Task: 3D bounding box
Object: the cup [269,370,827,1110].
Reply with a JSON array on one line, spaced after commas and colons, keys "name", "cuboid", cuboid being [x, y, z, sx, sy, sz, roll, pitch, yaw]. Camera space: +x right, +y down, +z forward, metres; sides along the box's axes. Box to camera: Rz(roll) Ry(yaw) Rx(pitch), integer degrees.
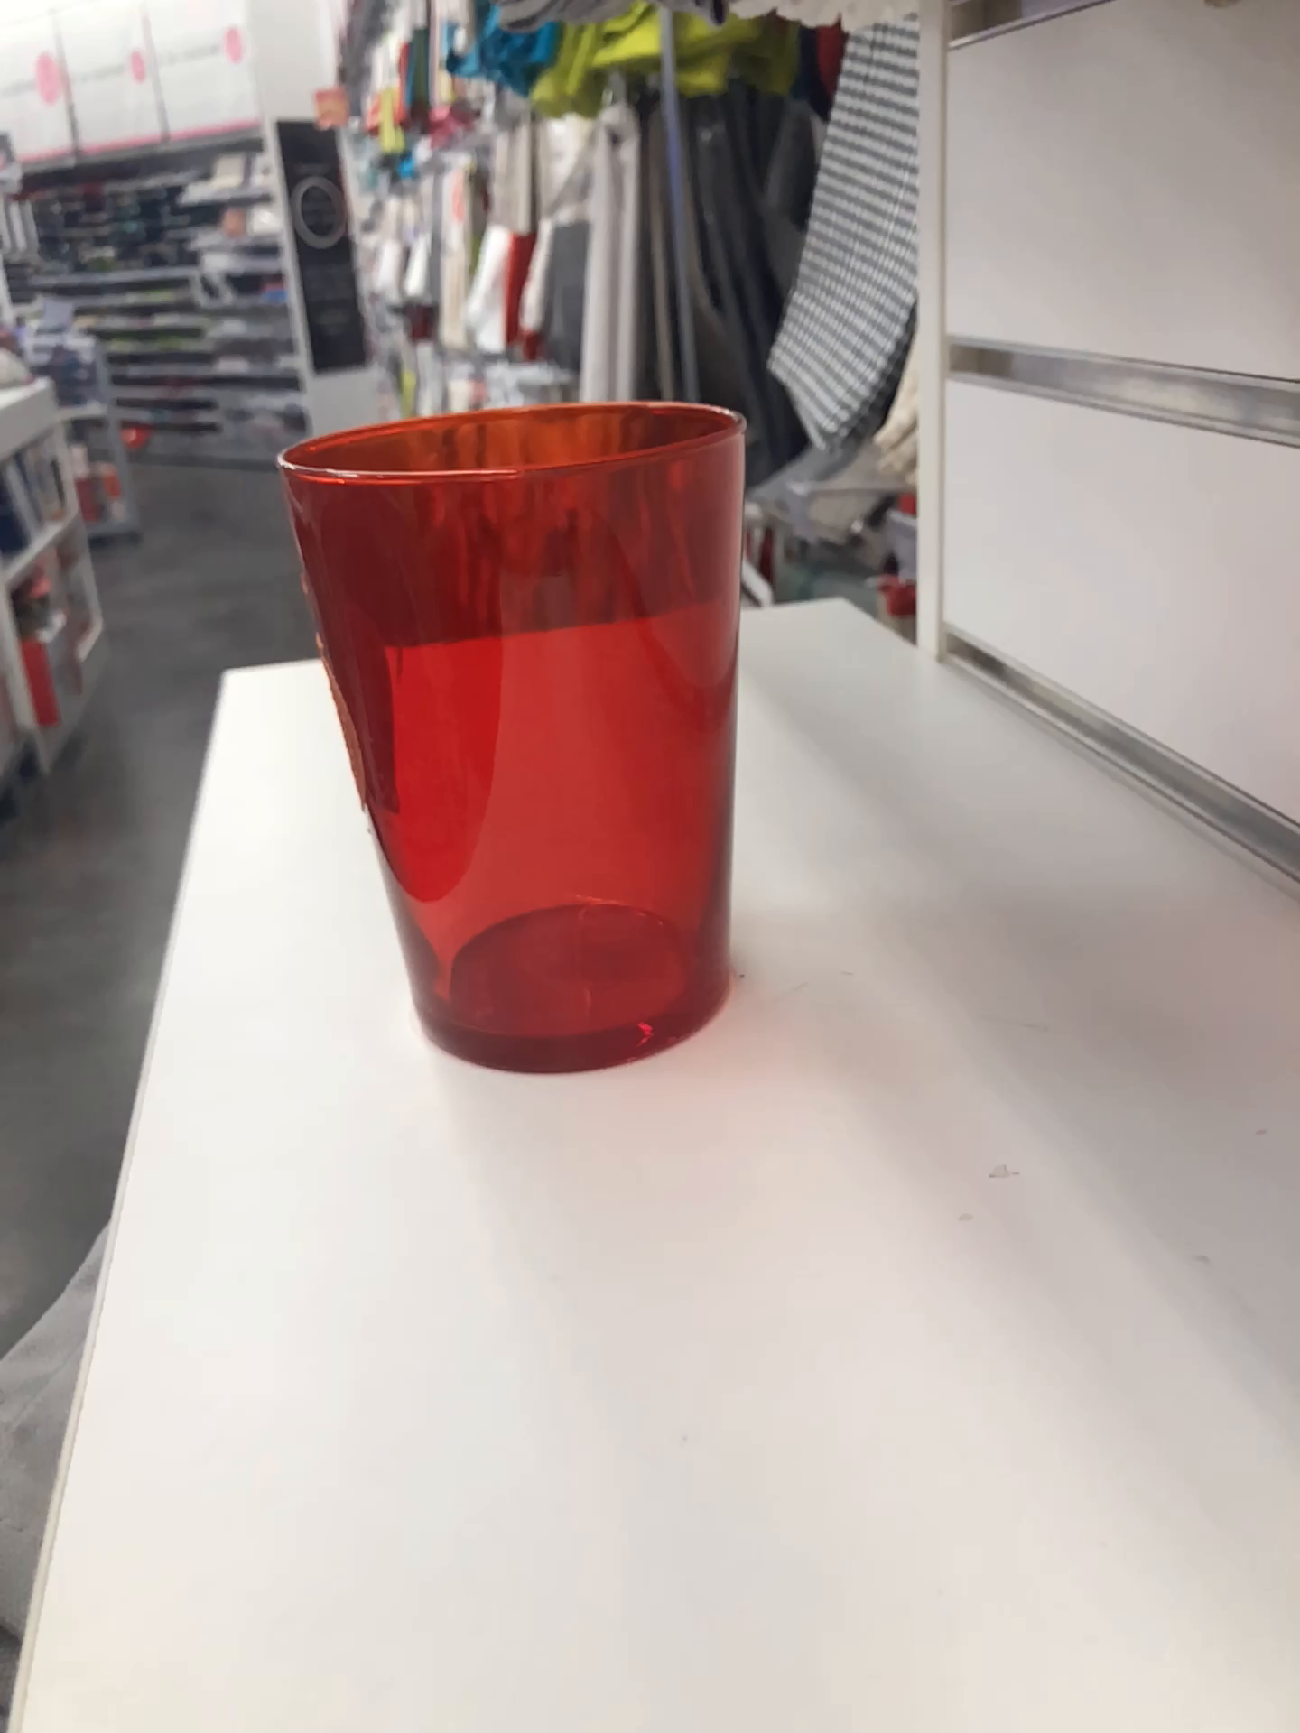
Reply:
[{"name": "cup", "cuboid": [-0.022, -0.033, 0.302, 0.091, 0.121, 0.092, -3, 24, 1]}]
